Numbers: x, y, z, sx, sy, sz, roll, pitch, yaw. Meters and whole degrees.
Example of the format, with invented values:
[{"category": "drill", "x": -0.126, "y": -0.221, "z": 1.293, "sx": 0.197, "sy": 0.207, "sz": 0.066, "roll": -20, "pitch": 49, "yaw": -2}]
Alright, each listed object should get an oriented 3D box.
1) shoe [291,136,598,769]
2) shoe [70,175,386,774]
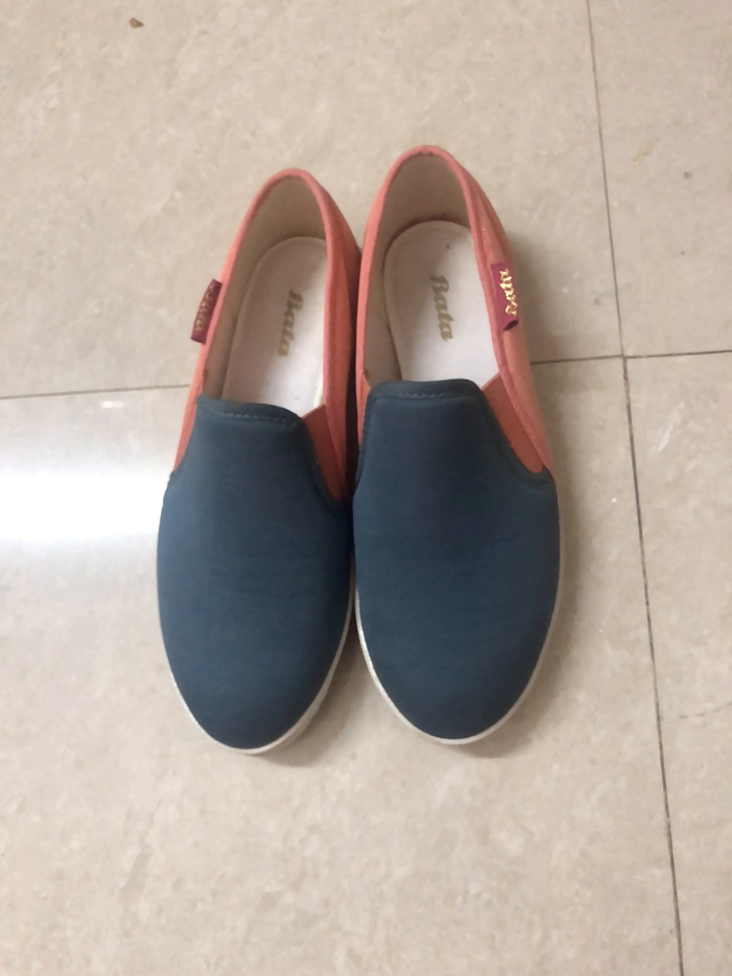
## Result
[{"category": "shoe", "x": 0.025, "y": -0.014, "z": 0.311, "sx": 0.090, "sy": 0.060, "sz": 0.220, "roll": -5, "pitch": 76, "yaw": 7}, {"category": "shoe", "x": -0.046, "y": -0.009, "z": 0.326, "sx": 0.090, "sy": 0.060, "sz": 0.220, "roll": 1, "pitch": 77, "yaw": 9}]
